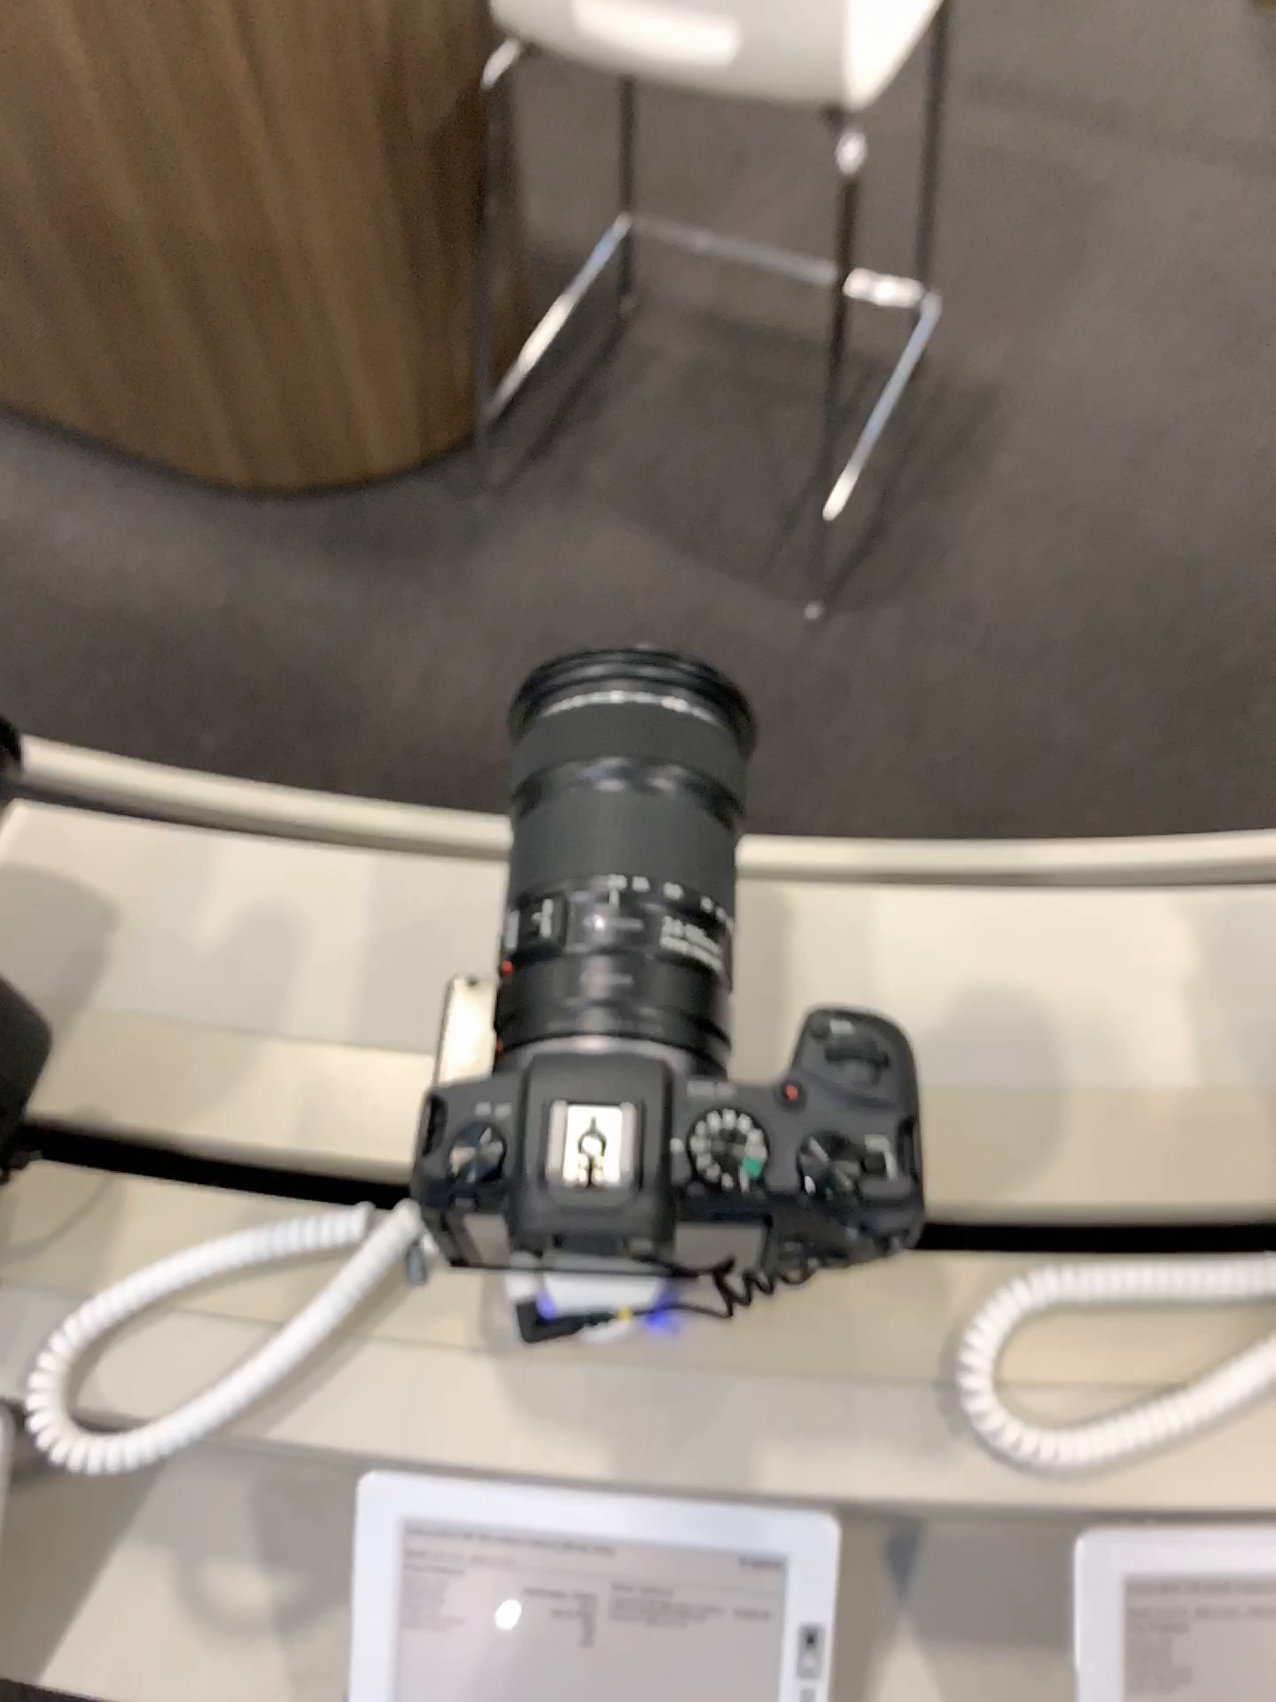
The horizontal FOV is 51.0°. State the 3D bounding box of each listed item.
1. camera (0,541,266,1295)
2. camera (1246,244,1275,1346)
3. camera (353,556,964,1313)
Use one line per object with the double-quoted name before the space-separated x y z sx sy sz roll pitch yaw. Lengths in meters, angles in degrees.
"camera" -0.230 0.021 0.408 0.150 0.119 0.171 10 61 7
"camera" 0.279 0.008 0.320 0.150 0.219 0.171 0 60 2
"camera" 0.009 0.022 0.400 0.140 0.100 0.201 1 60 2
